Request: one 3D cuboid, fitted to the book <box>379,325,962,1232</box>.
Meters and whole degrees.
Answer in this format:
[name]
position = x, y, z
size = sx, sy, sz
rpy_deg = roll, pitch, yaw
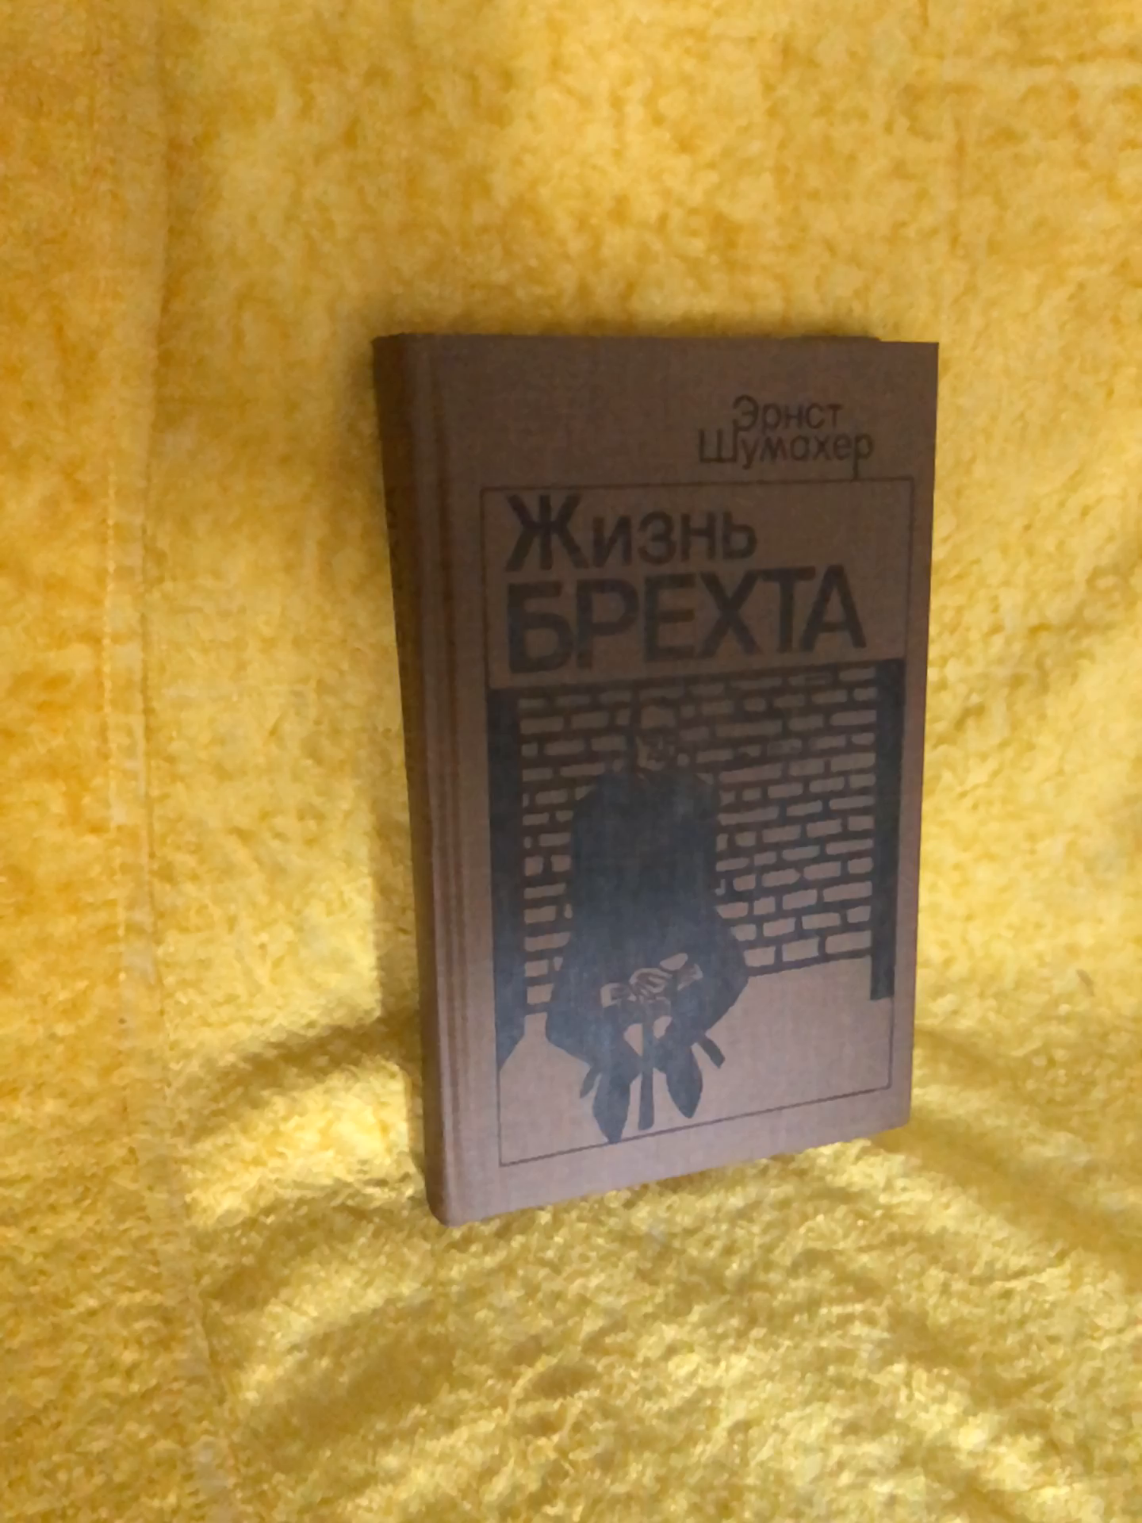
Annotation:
[book]
position = 0.025, 0.002, 0.309
size = 0.130, 0.200, 0.033
rpy_deg = -5, 13, -20
